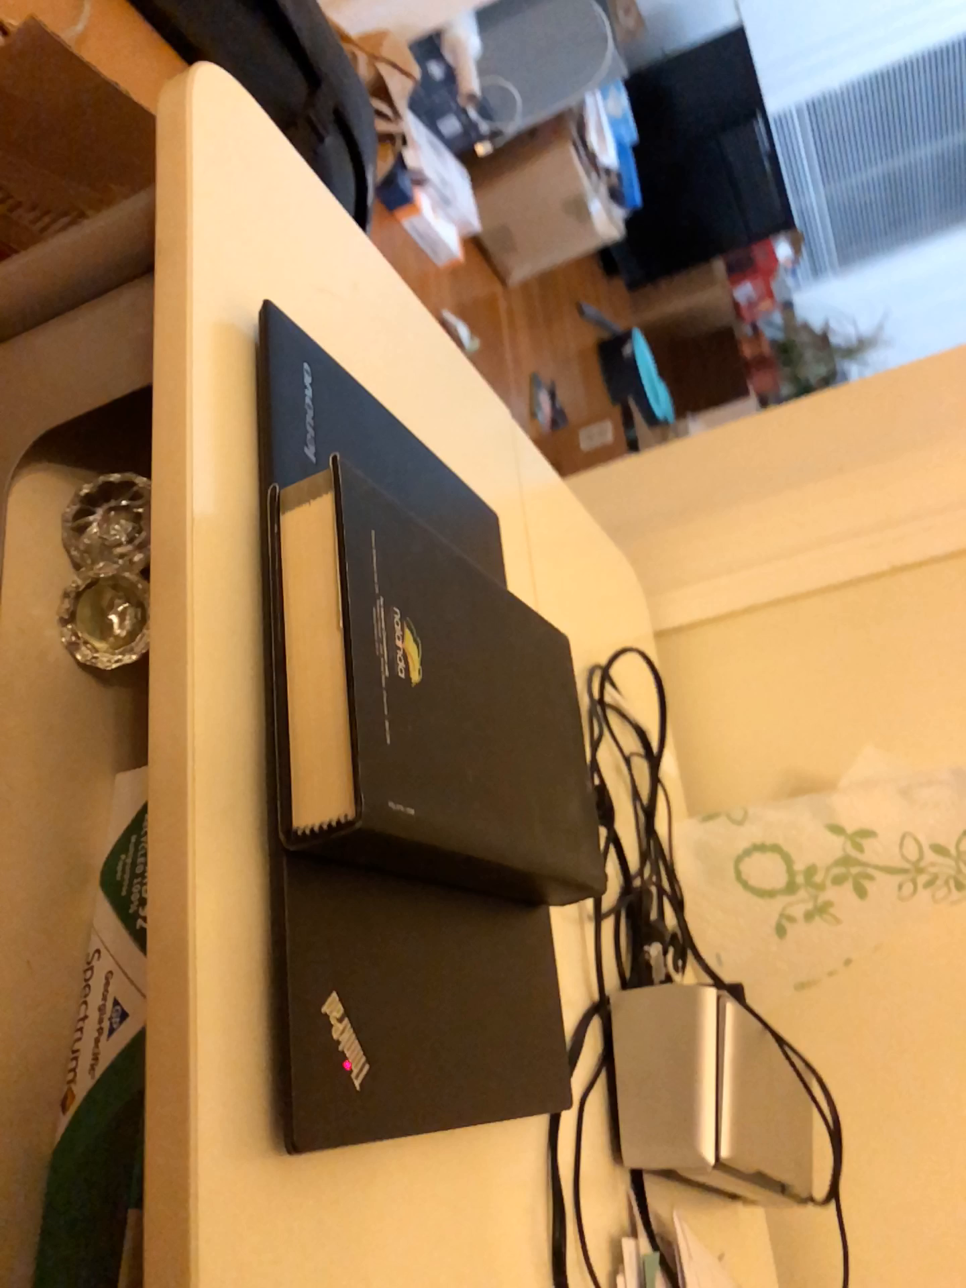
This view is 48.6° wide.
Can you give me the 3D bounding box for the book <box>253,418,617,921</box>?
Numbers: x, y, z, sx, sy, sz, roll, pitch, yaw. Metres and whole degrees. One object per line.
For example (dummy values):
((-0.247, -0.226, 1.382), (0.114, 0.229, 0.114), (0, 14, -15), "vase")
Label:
((-0.010, 0.029, 0.456), (0.231, 0.040, 0.150), (36, 42, -59), "book")
